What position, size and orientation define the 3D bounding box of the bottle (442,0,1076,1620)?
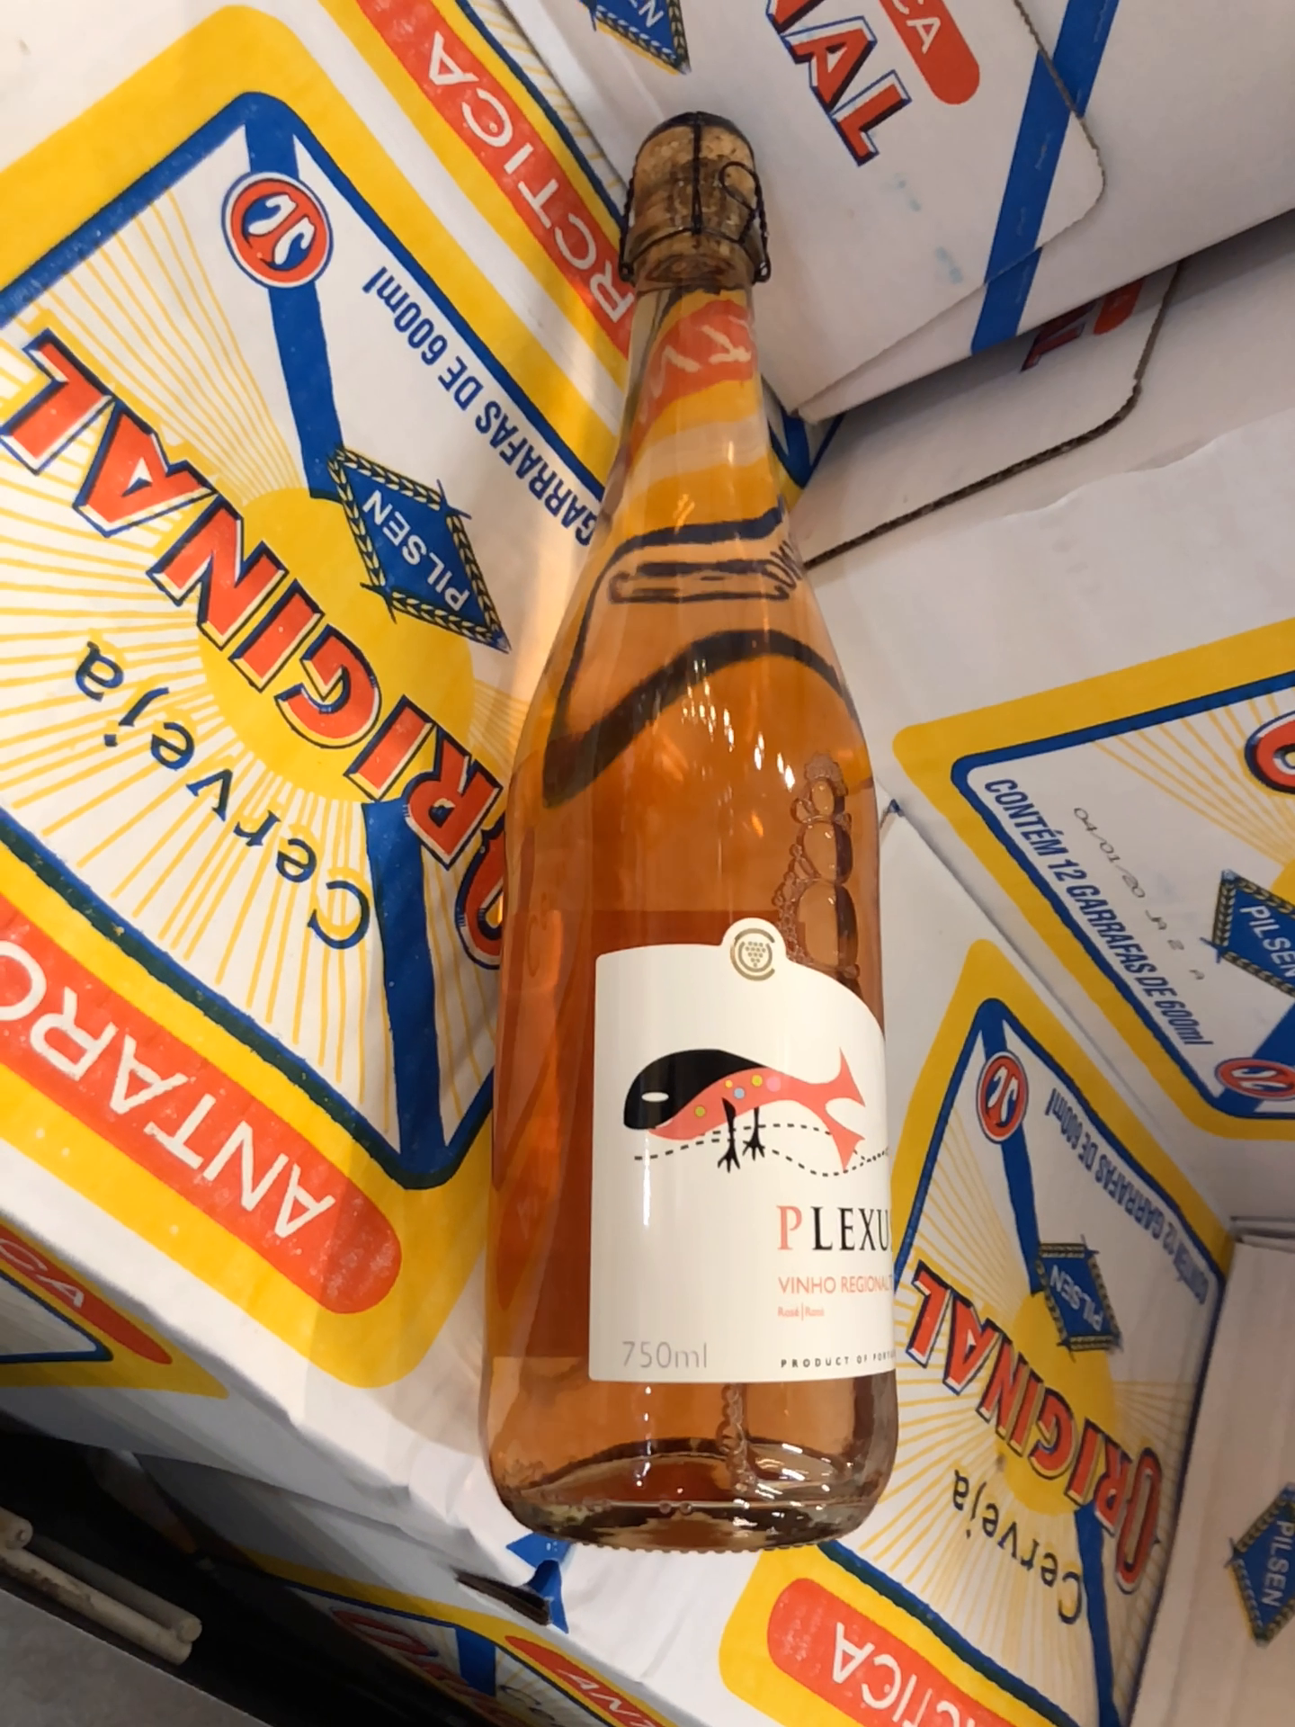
[{"bbox_3d":[0.024,-0.020,0.293,0.091,0.070,0.290,14,71,-40],"label":"bottle"}]
